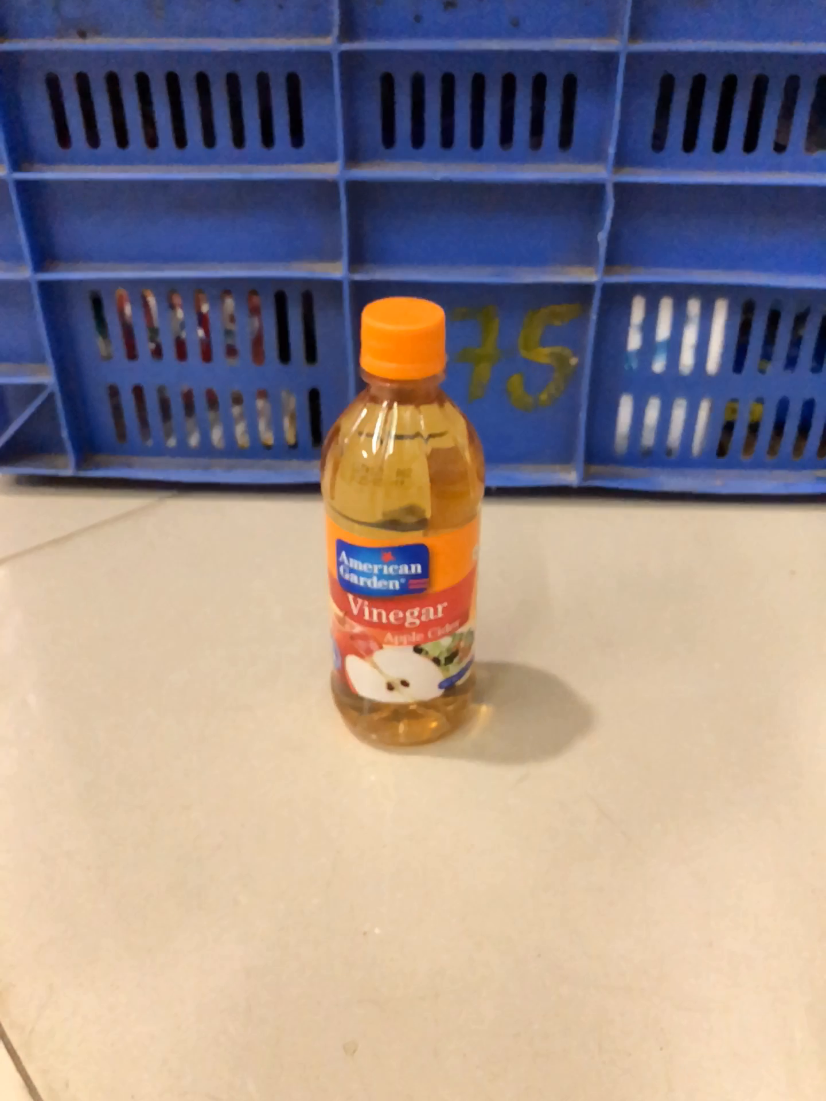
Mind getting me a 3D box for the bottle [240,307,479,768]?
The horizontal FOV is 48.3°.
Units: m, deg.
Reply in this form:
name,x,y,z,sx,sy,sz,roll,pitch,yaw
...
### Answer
name,x,y,z,sx,sy,sz,roll,pitch,yaw
bottle,-0.015,-0.003,0.375,0.070,0.169,0.071,0,32,0
